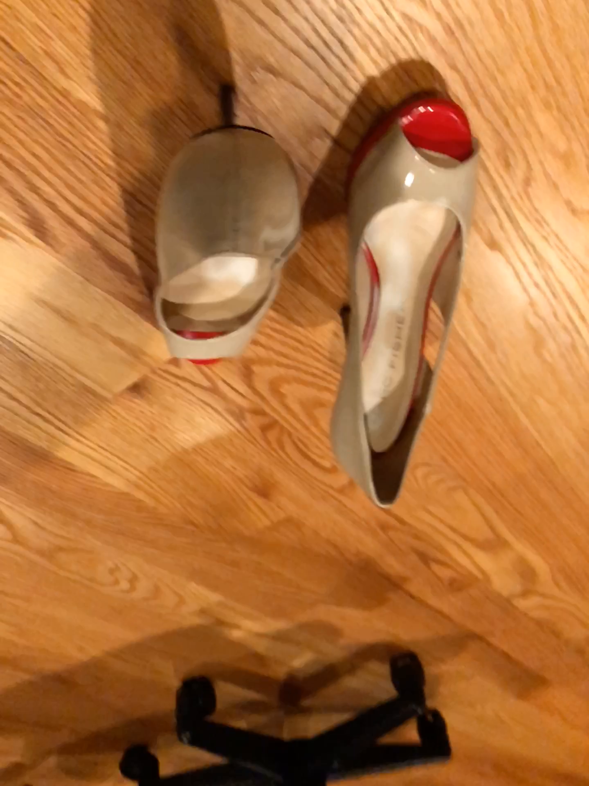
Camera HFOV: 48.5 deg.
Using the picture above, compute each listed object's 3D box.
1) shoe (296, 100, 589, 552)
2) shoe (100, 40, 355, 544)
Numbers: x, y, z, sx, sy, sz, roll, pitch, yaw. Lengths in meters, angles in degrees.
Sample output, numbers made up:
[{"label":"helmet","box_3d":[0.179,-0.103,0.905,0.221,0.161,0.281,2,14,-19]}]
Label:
[{"label":"shoe","box_3d":[0.067,-0.028,0.393,0.080,0.150,0.221,2,137,-11]},{"label":"shoe","box_3d":[-0.049,-0.036,0.336,0.085,0.130,0.216,3,137,-13]}]
